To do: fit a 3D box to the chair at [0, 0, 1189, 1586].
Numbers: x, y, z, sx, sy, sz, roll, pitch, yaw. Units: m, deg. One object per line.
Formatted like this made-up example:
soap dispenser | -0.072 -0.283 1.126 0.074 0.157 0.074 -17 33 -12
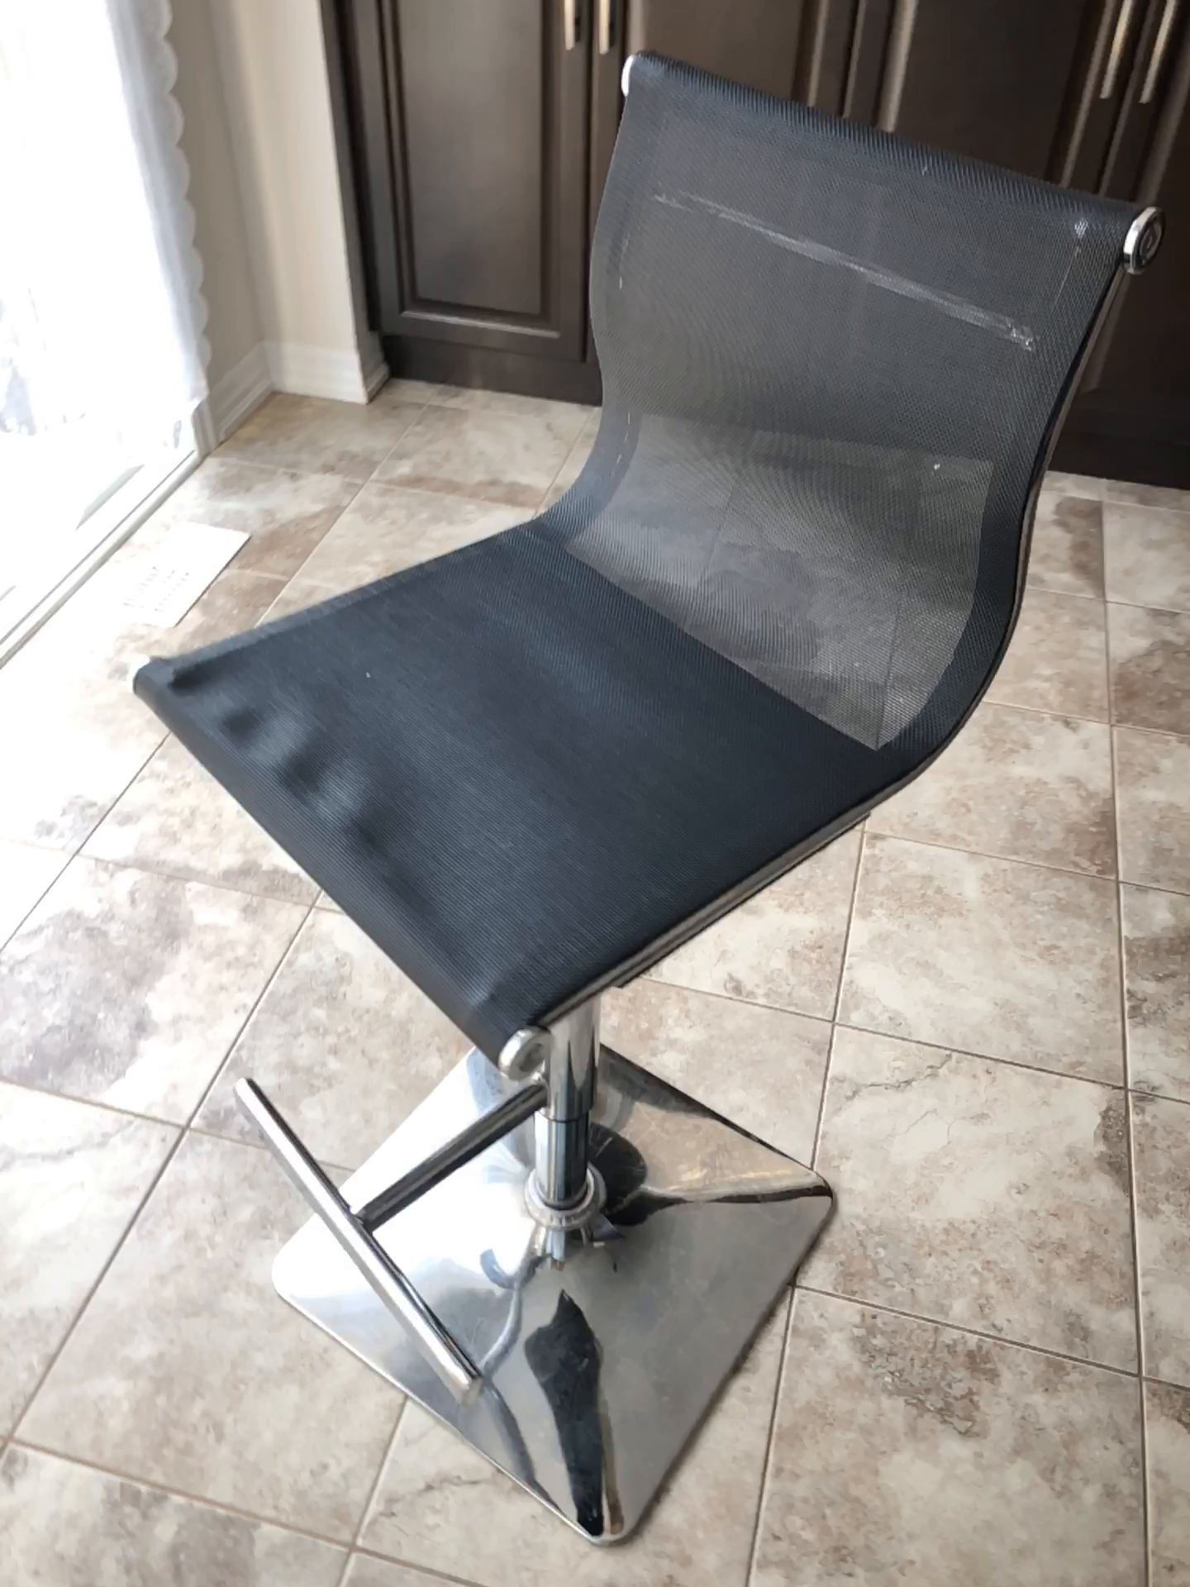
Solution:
chair | -0.024 0.061 0.962 0.551 0.976 0.541 -29 51 -29
